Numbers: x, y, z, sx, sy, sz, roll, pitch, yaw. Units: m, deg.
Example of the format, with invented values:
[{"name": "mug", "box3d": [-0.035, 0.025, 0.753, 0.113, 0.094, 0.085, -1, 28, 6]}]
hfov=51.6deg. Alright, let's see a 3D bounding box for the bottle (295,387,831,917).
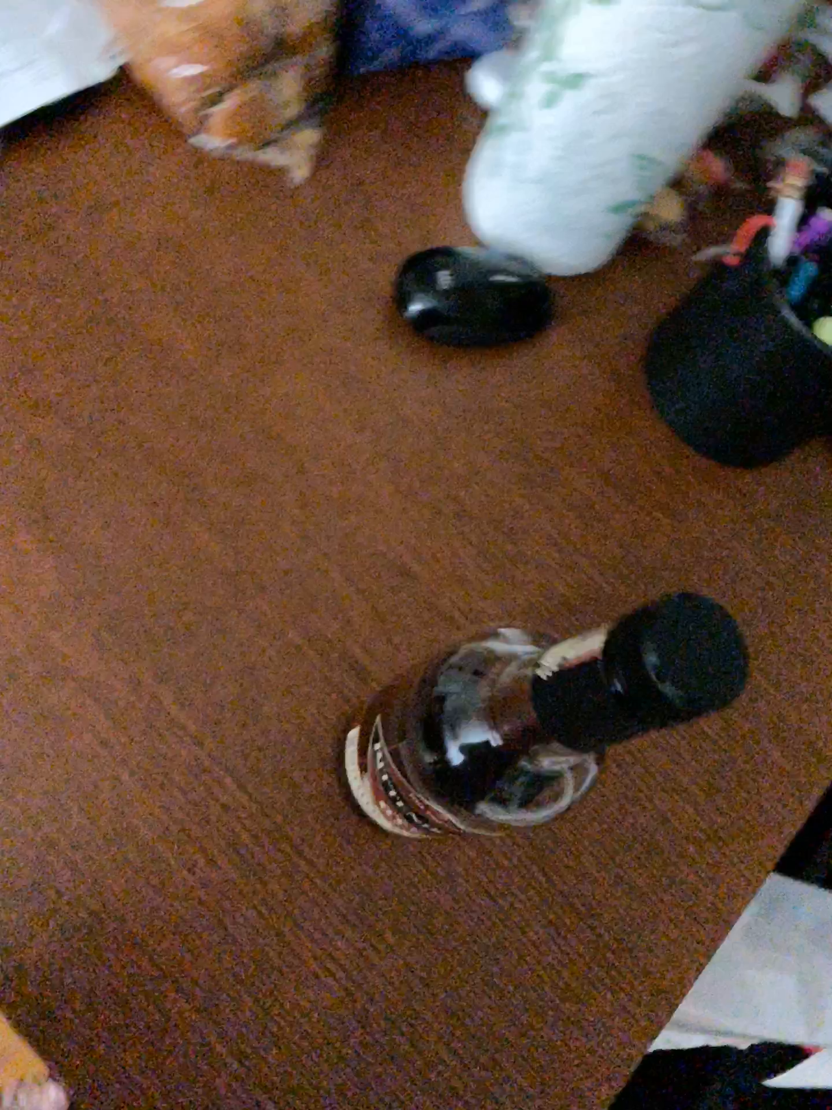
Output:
[{"name": "bottle", "box3d": [0.037, 0.062, 0.334, 0.090, 0.290, 0.090, 5, 71, -15]}]
